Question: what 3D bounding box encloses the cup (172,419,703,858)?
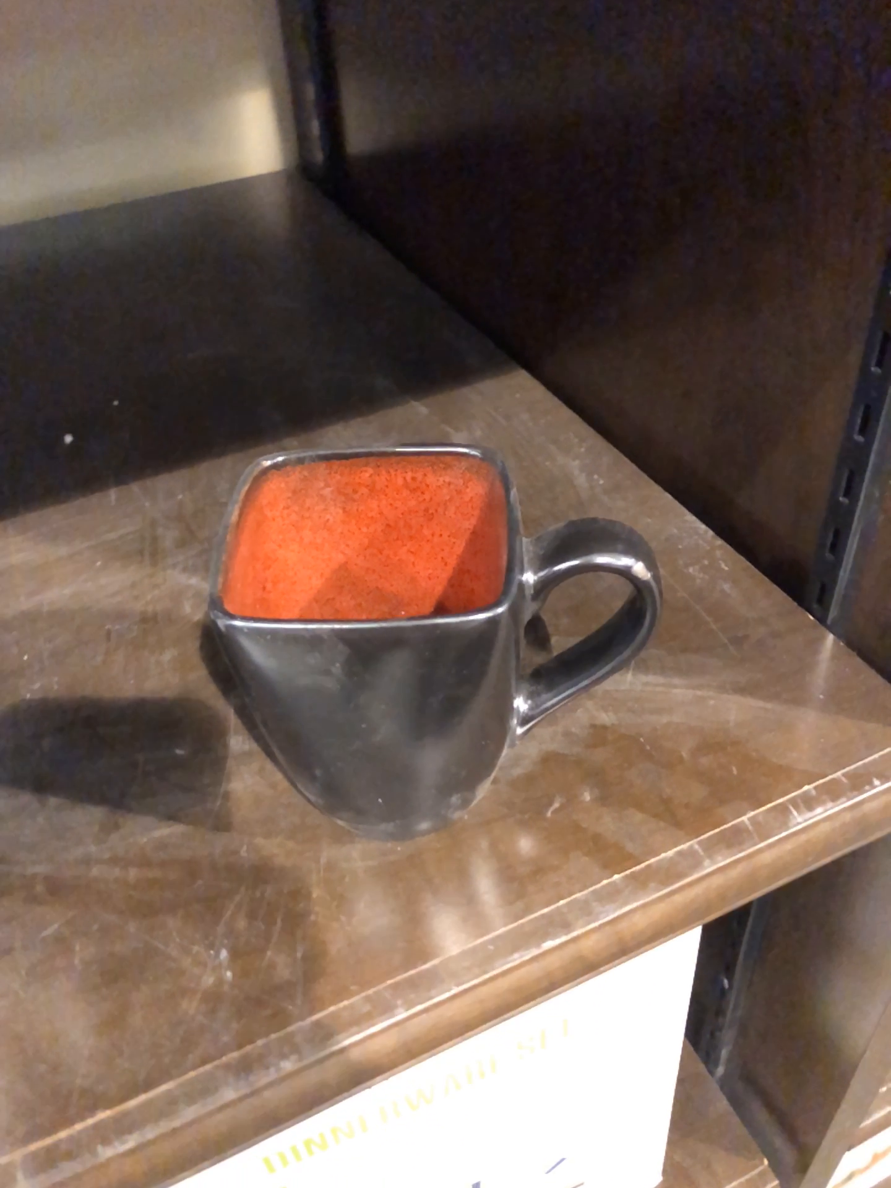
[{"bbox_3d":[0.001,0.011,0.291,0.123,0.083,0.095,-2,39,4],"label":"cup"}]
